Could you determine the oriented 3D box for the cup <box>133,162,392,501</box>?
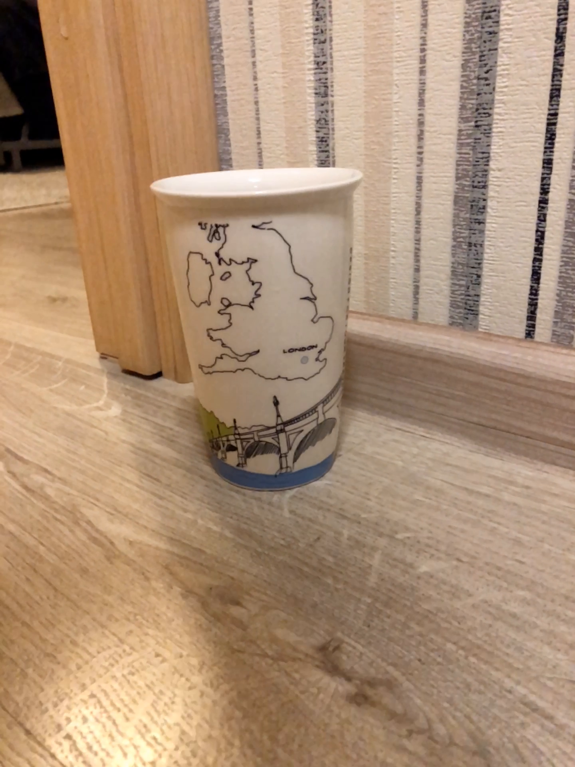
[{"bbox_3d":[-0.001,-0.030,0.301,0.097,0.133,0.096,-2,23,1],"label":"cup"}]
